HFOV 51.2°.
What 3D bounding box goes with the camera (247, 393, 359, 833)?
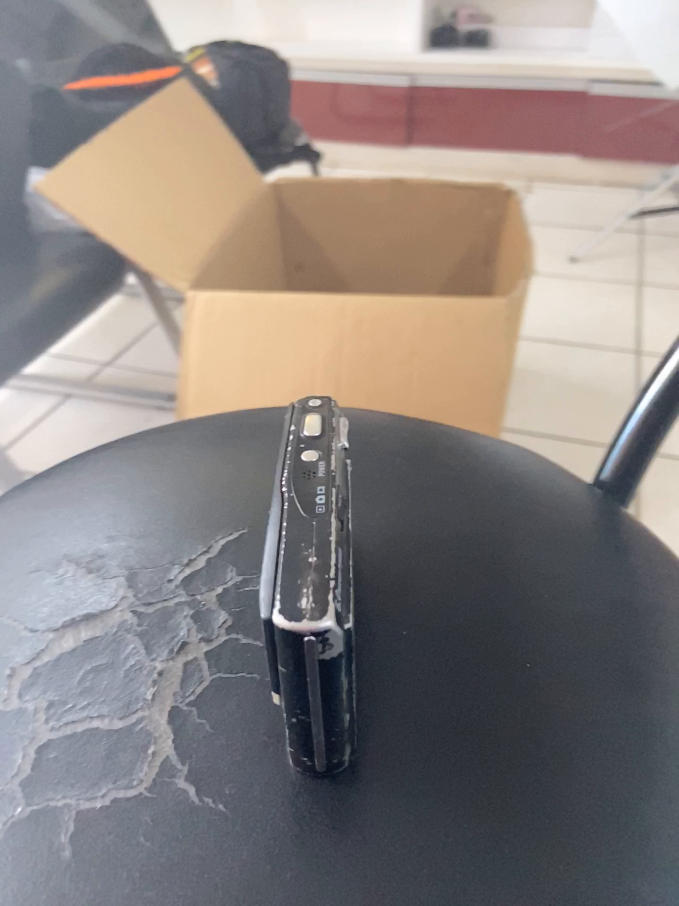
[{"bbox_3d":[-0.006,0.036,0.191,0.020,0.060,0.101,-1,37,2],"label":"camera"}]
